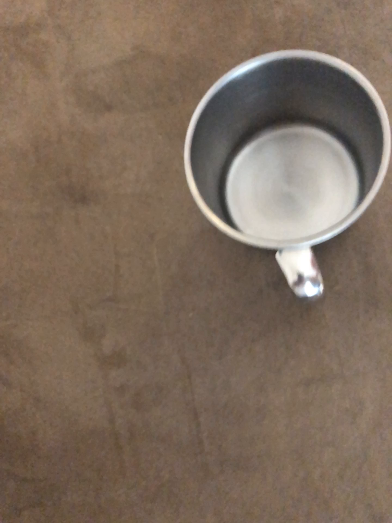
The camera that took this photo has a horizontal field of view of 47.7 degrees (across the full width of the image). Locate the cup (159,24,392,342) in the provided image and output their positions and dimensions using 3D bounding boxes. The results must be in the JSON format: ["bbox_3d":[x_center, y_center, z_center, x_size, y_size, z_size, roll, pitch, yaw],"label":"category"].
[{"bbox_3d":[0.046,-0.028,0.213,0.090,0.070,0.110,-14,81,14],"label":"cup"}]
